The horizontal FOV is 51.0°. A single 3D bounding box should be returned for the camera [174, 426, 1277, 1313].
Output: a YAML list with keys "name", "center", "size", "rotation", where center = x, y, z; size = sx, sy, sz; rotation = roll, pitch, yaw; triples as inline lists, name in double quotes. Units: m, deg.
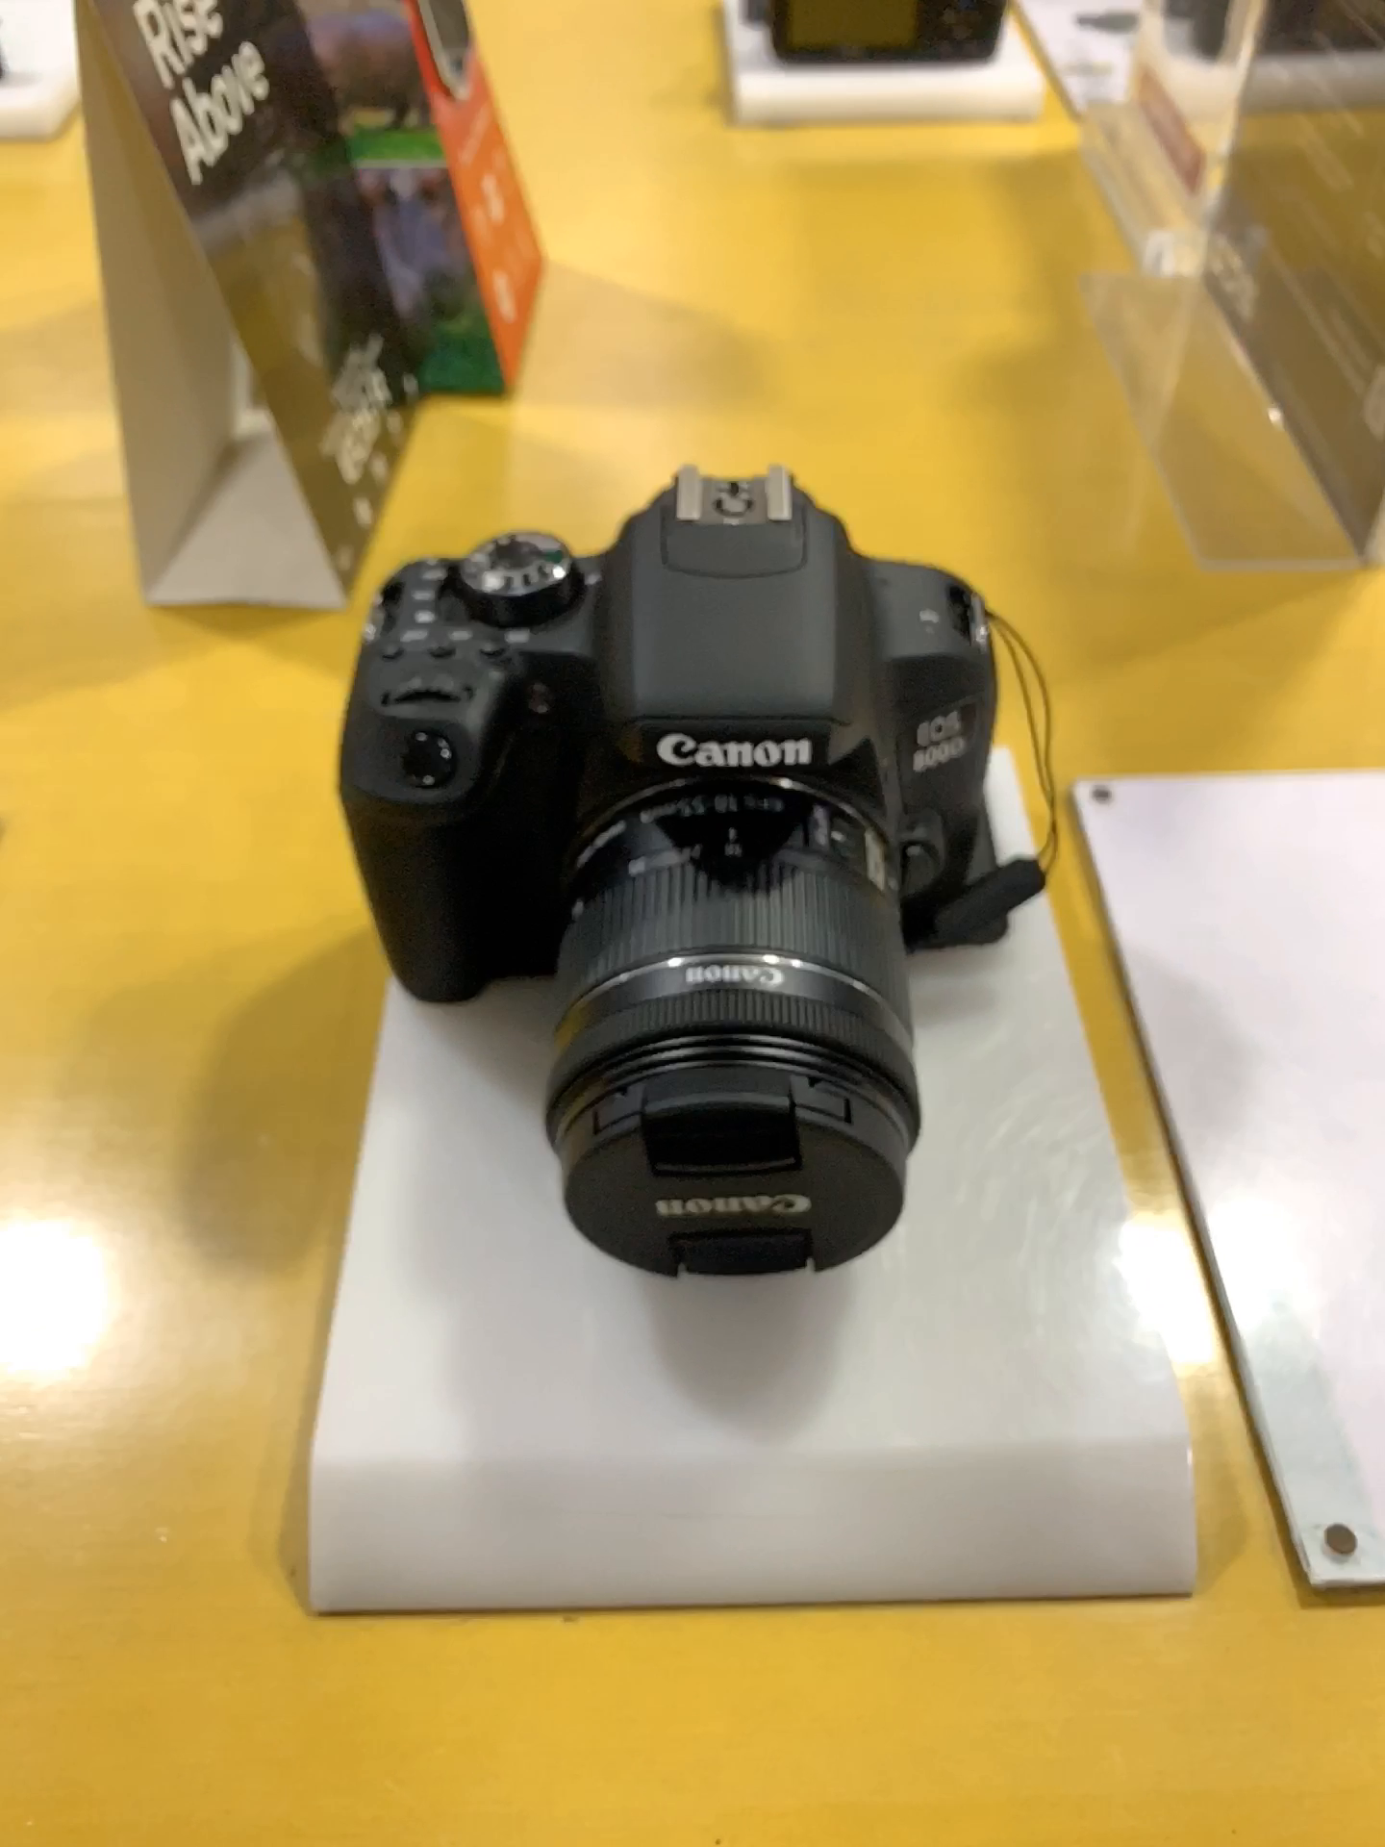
- name: "camera"
  center: [0.004, -0.013, 0.261]
  size: [0.140, 0.090, 0.130]
  rotation: [-2, 47, 0]
